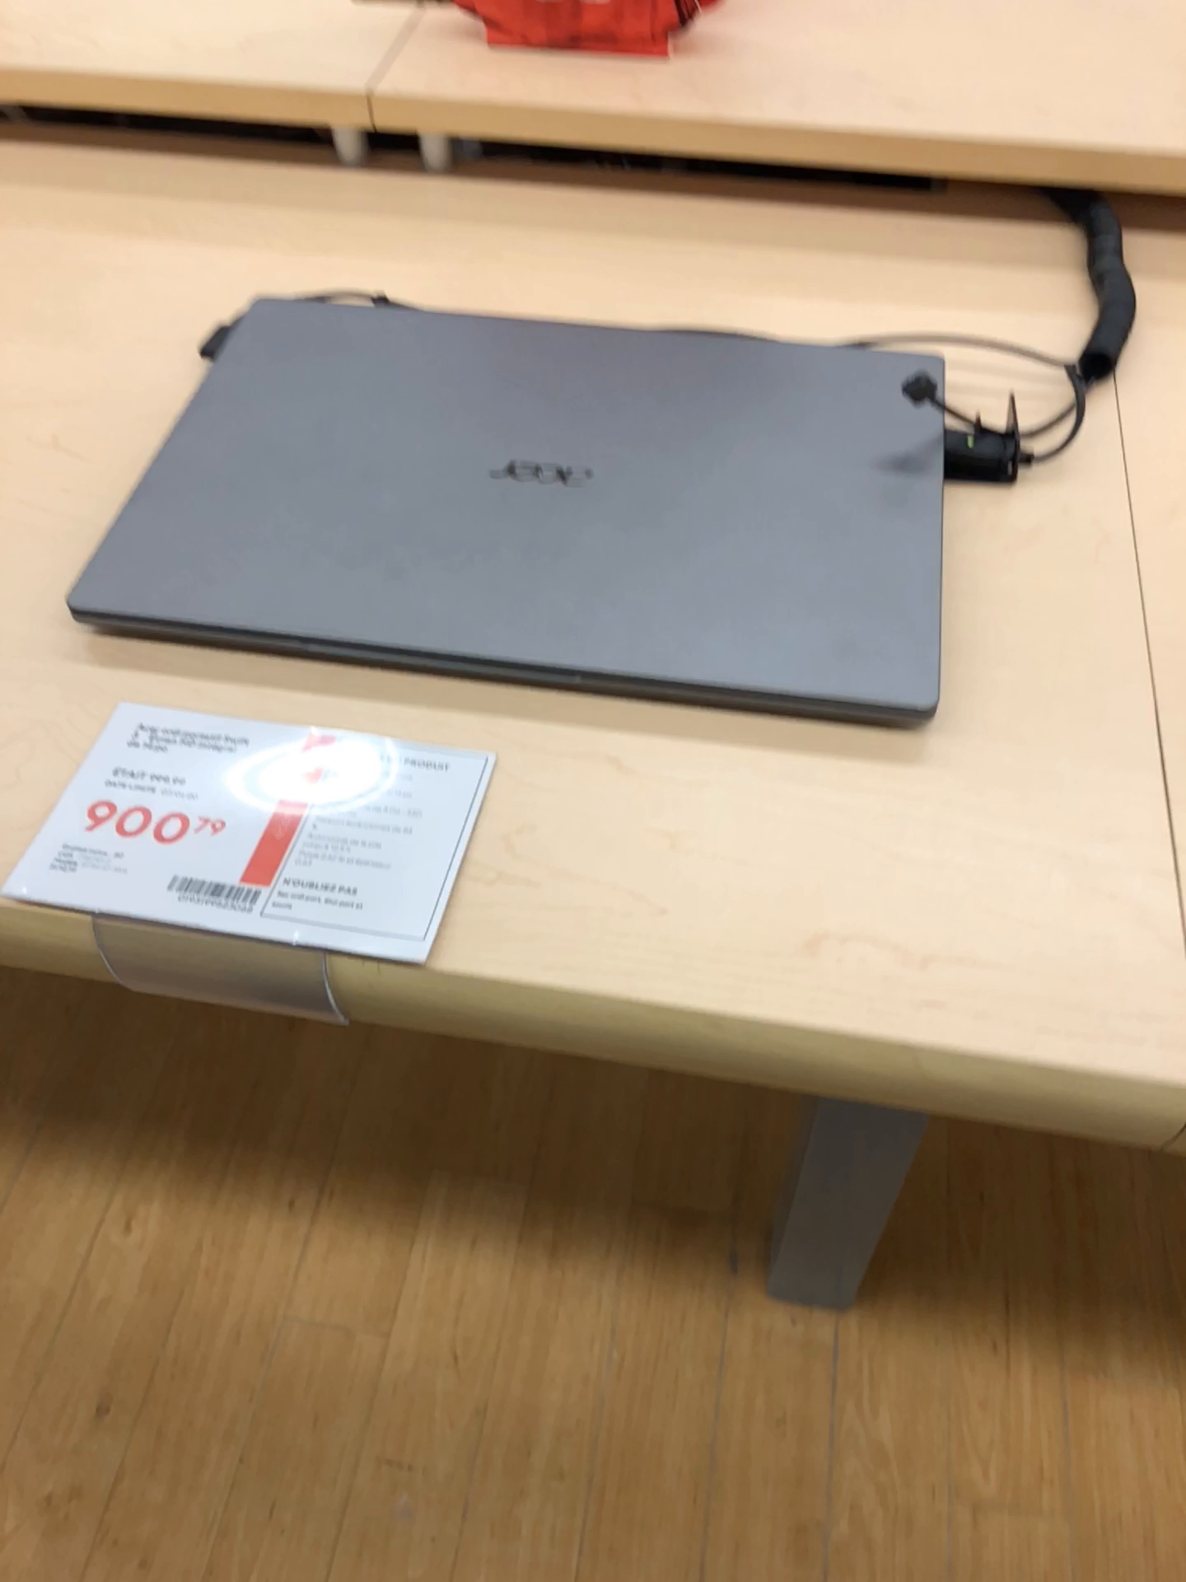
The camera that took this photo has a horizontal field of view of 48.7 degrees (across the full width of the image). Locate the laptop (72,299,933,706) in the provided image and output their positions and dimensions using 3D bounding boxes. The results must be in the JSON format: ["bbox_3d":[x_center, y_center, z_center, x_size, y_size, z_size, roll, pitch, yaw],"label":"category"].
[{"bbox_3d":[-0.022,-0.127,0.521,0.306,0.001,0.201,8,52,7],"label":"laptop"}]
